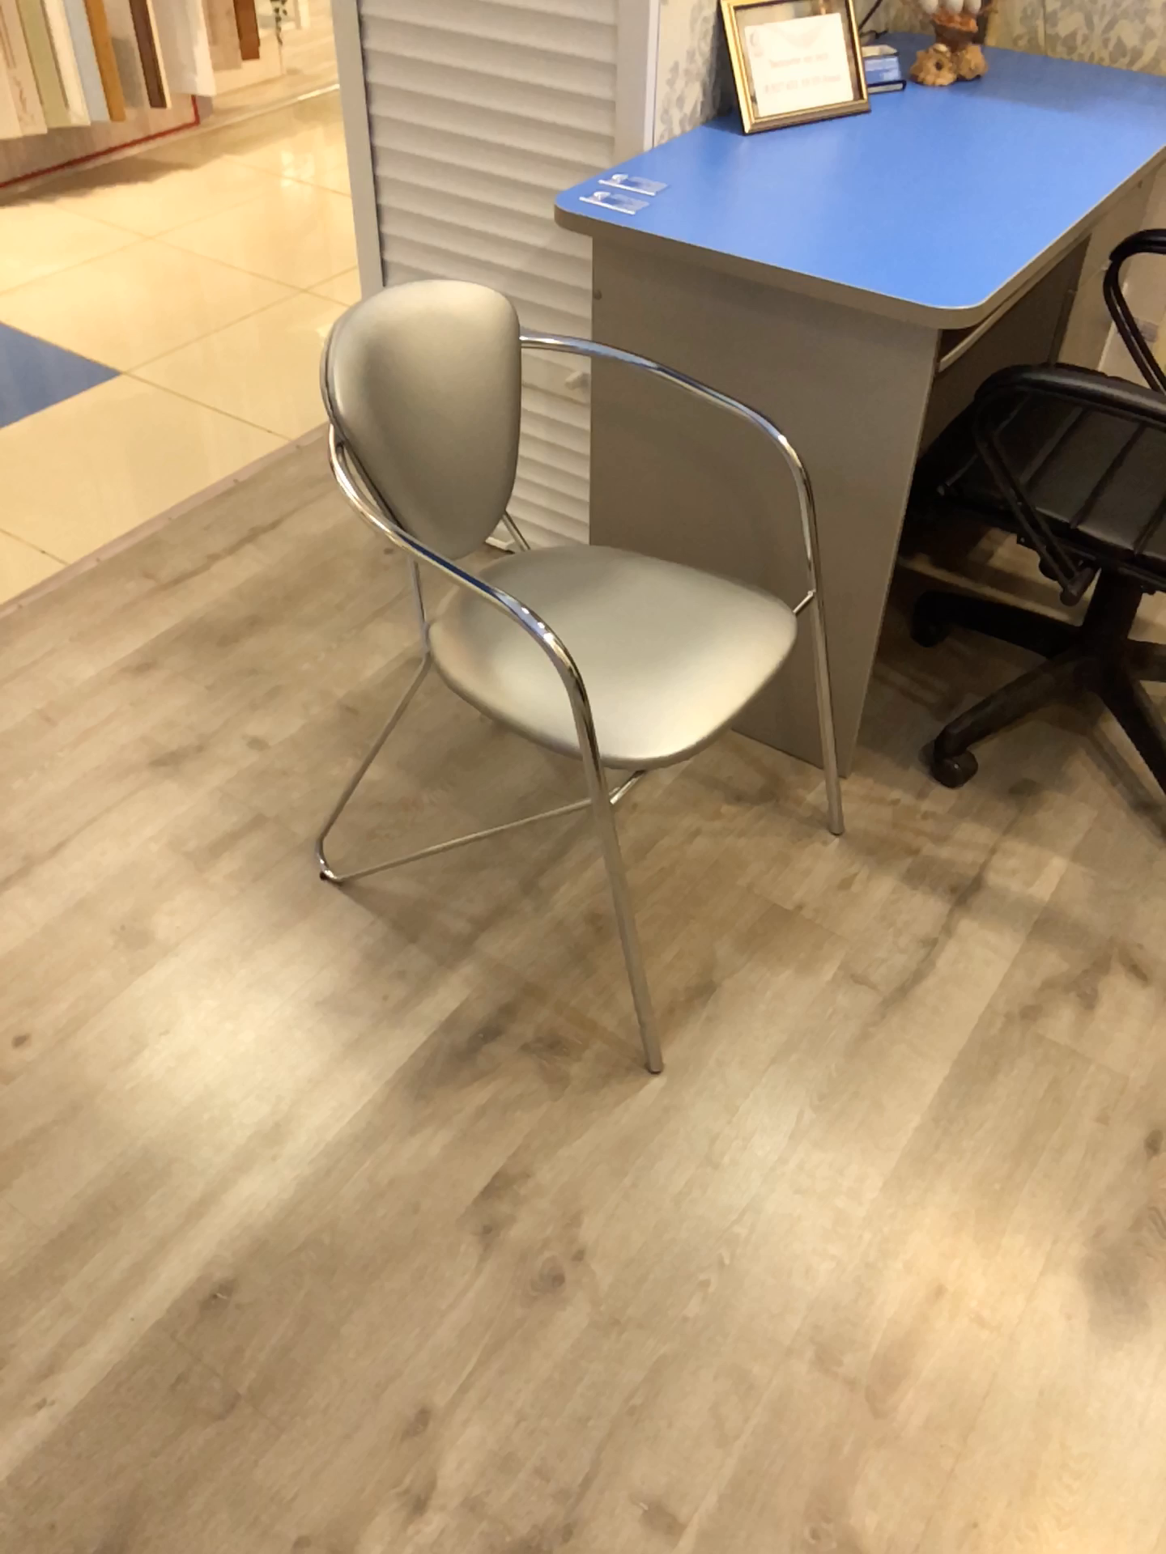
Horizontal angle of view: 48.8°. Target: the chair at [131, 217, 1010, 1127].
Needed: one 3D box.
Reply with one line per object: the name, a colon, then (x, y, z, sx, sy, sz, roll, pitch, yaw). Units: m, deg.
chair: (-0.003, -0.164, 1.635, 0.731, 0.746, 0.612, 25, 48, 24)
